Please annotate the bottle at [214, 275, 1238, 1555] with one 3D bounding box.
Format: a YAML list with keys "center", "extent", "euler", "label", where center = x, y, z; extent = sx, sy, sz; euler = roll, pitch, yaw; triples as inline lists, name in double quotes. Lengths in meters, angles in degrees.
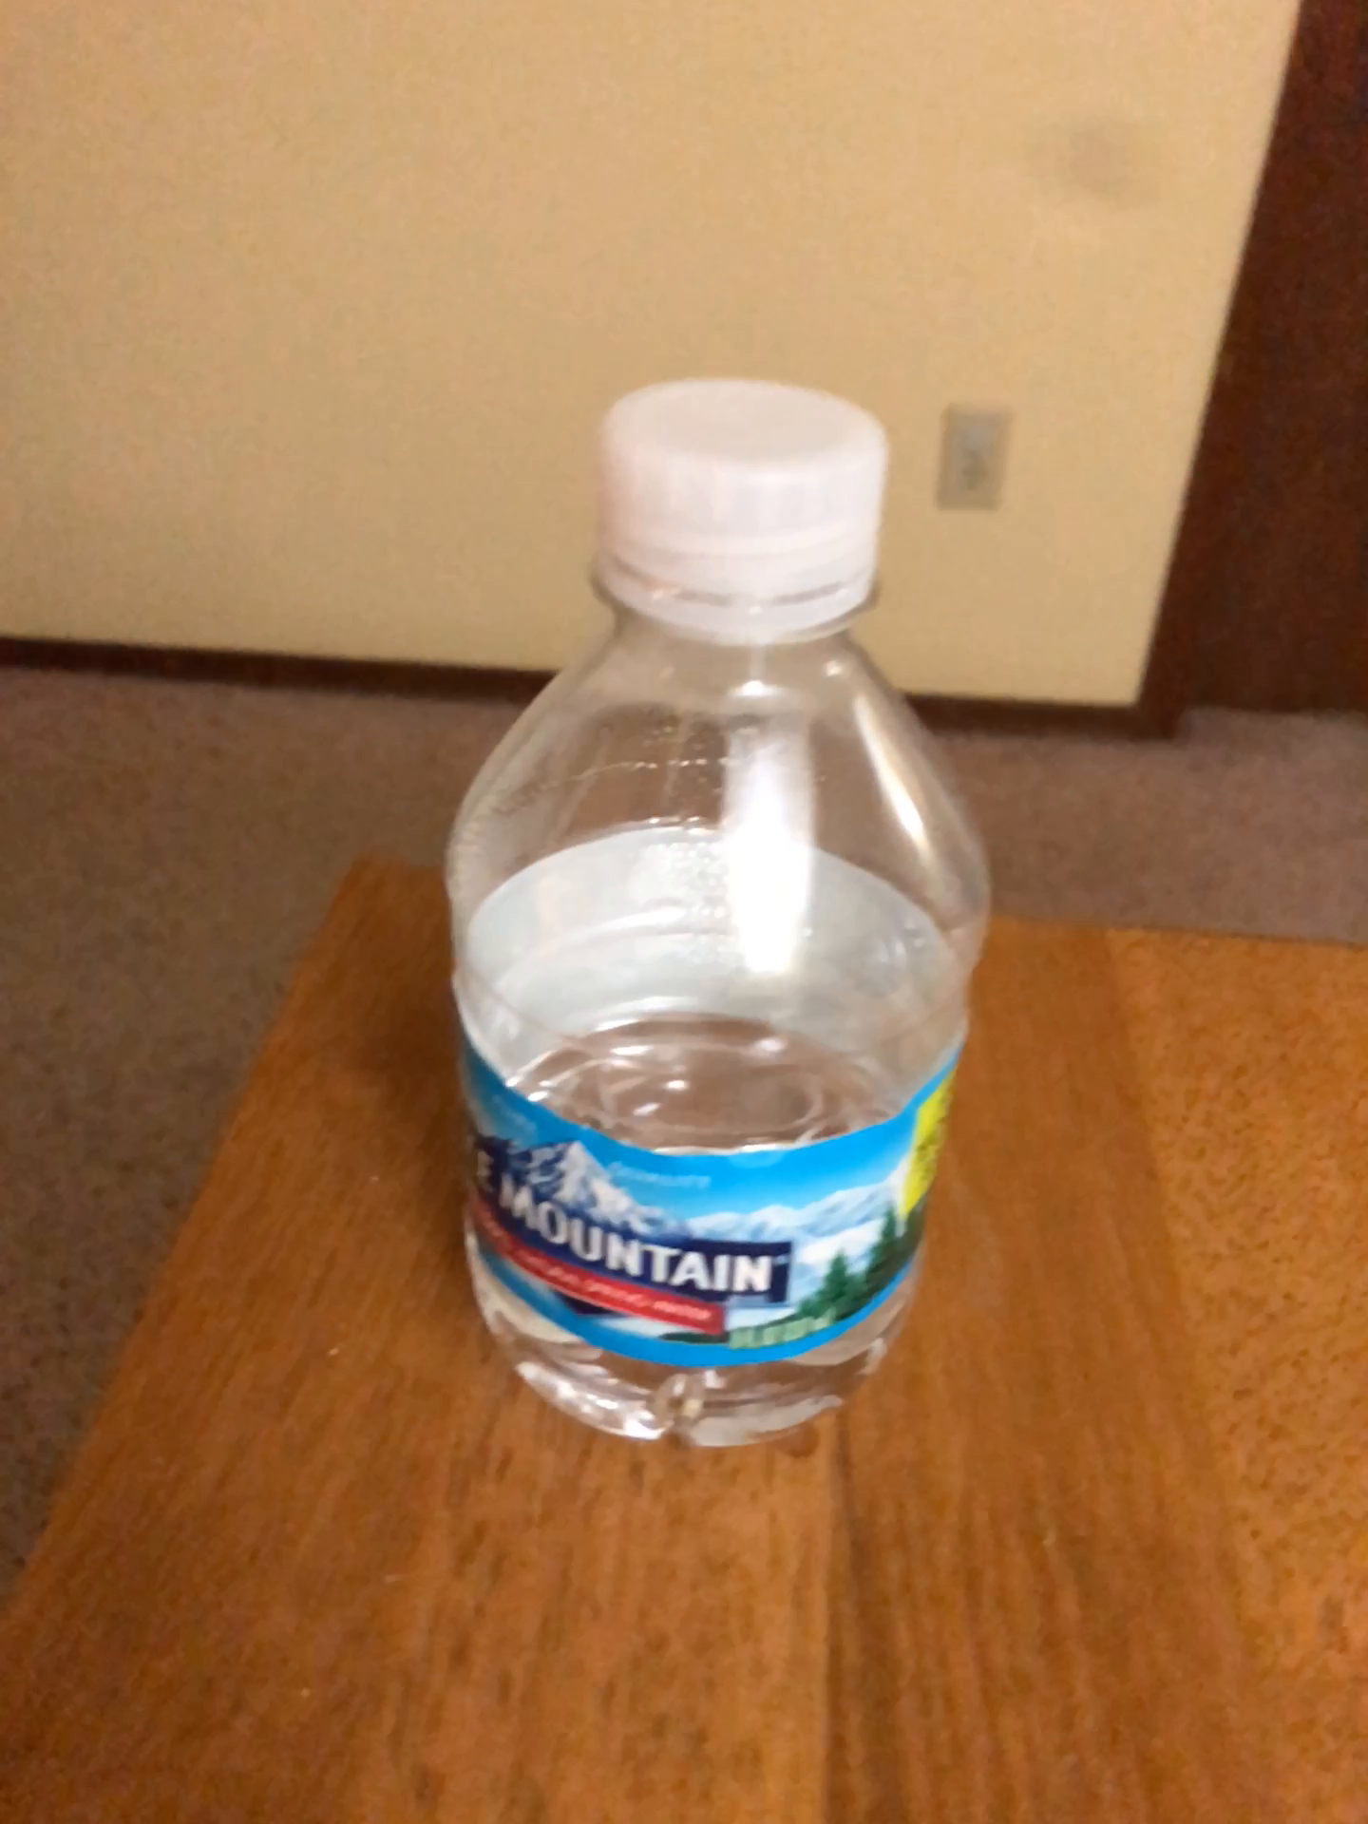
- center: [0.006, -0.002, 0.175]
  extent: [0.070, 0.110, 0.070]
  euler: [1, 36, -1]
  label: "bottle"
